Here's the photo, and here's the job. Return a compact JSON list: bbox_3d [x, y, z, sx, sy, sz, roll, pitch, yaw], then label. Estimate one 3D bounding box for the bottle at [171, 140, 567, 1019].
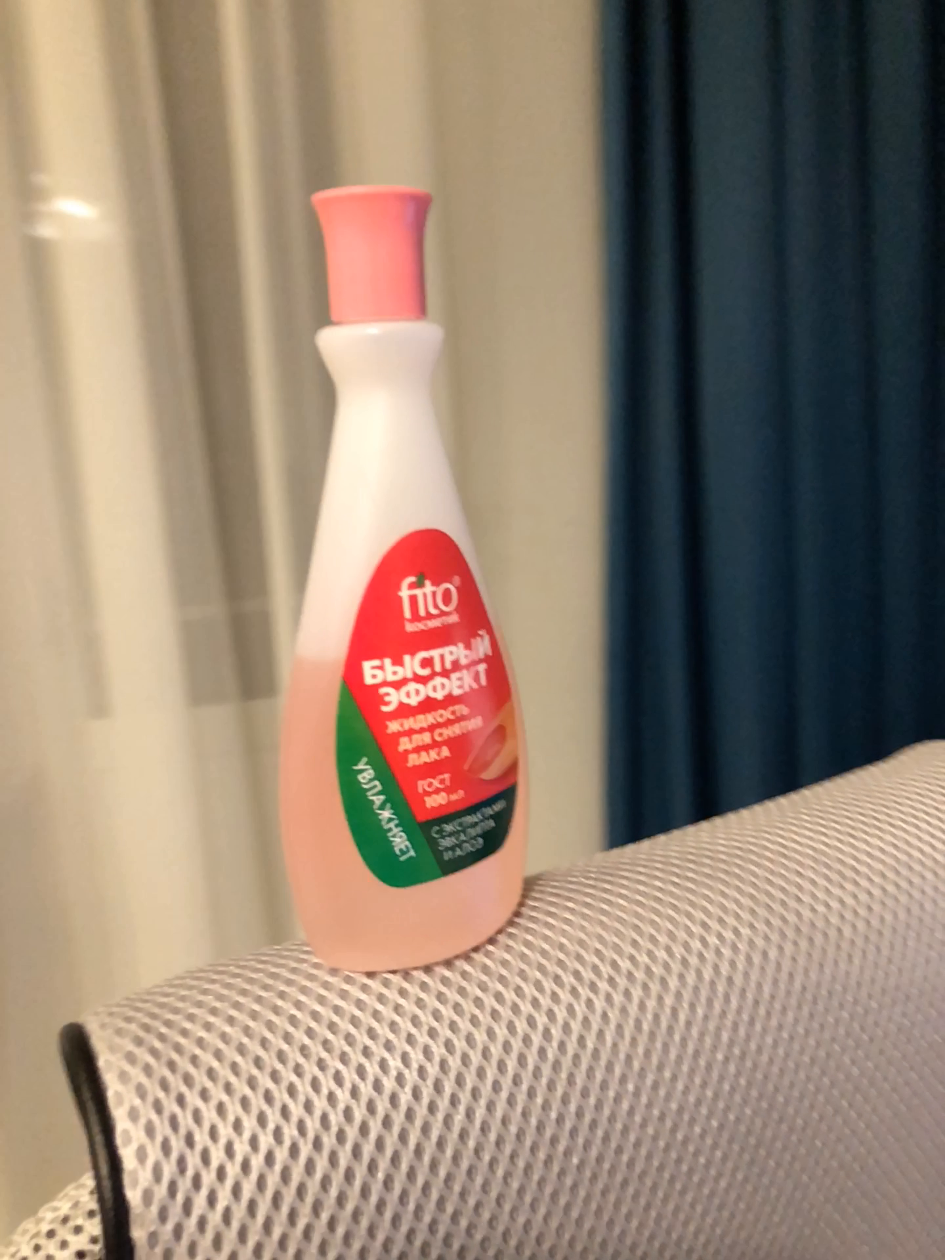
[{"bbox_3d":[-0.019,-0.010,0.217,0.056,0.158,0.039,-12,13,-36],"label":"bottle"}]
